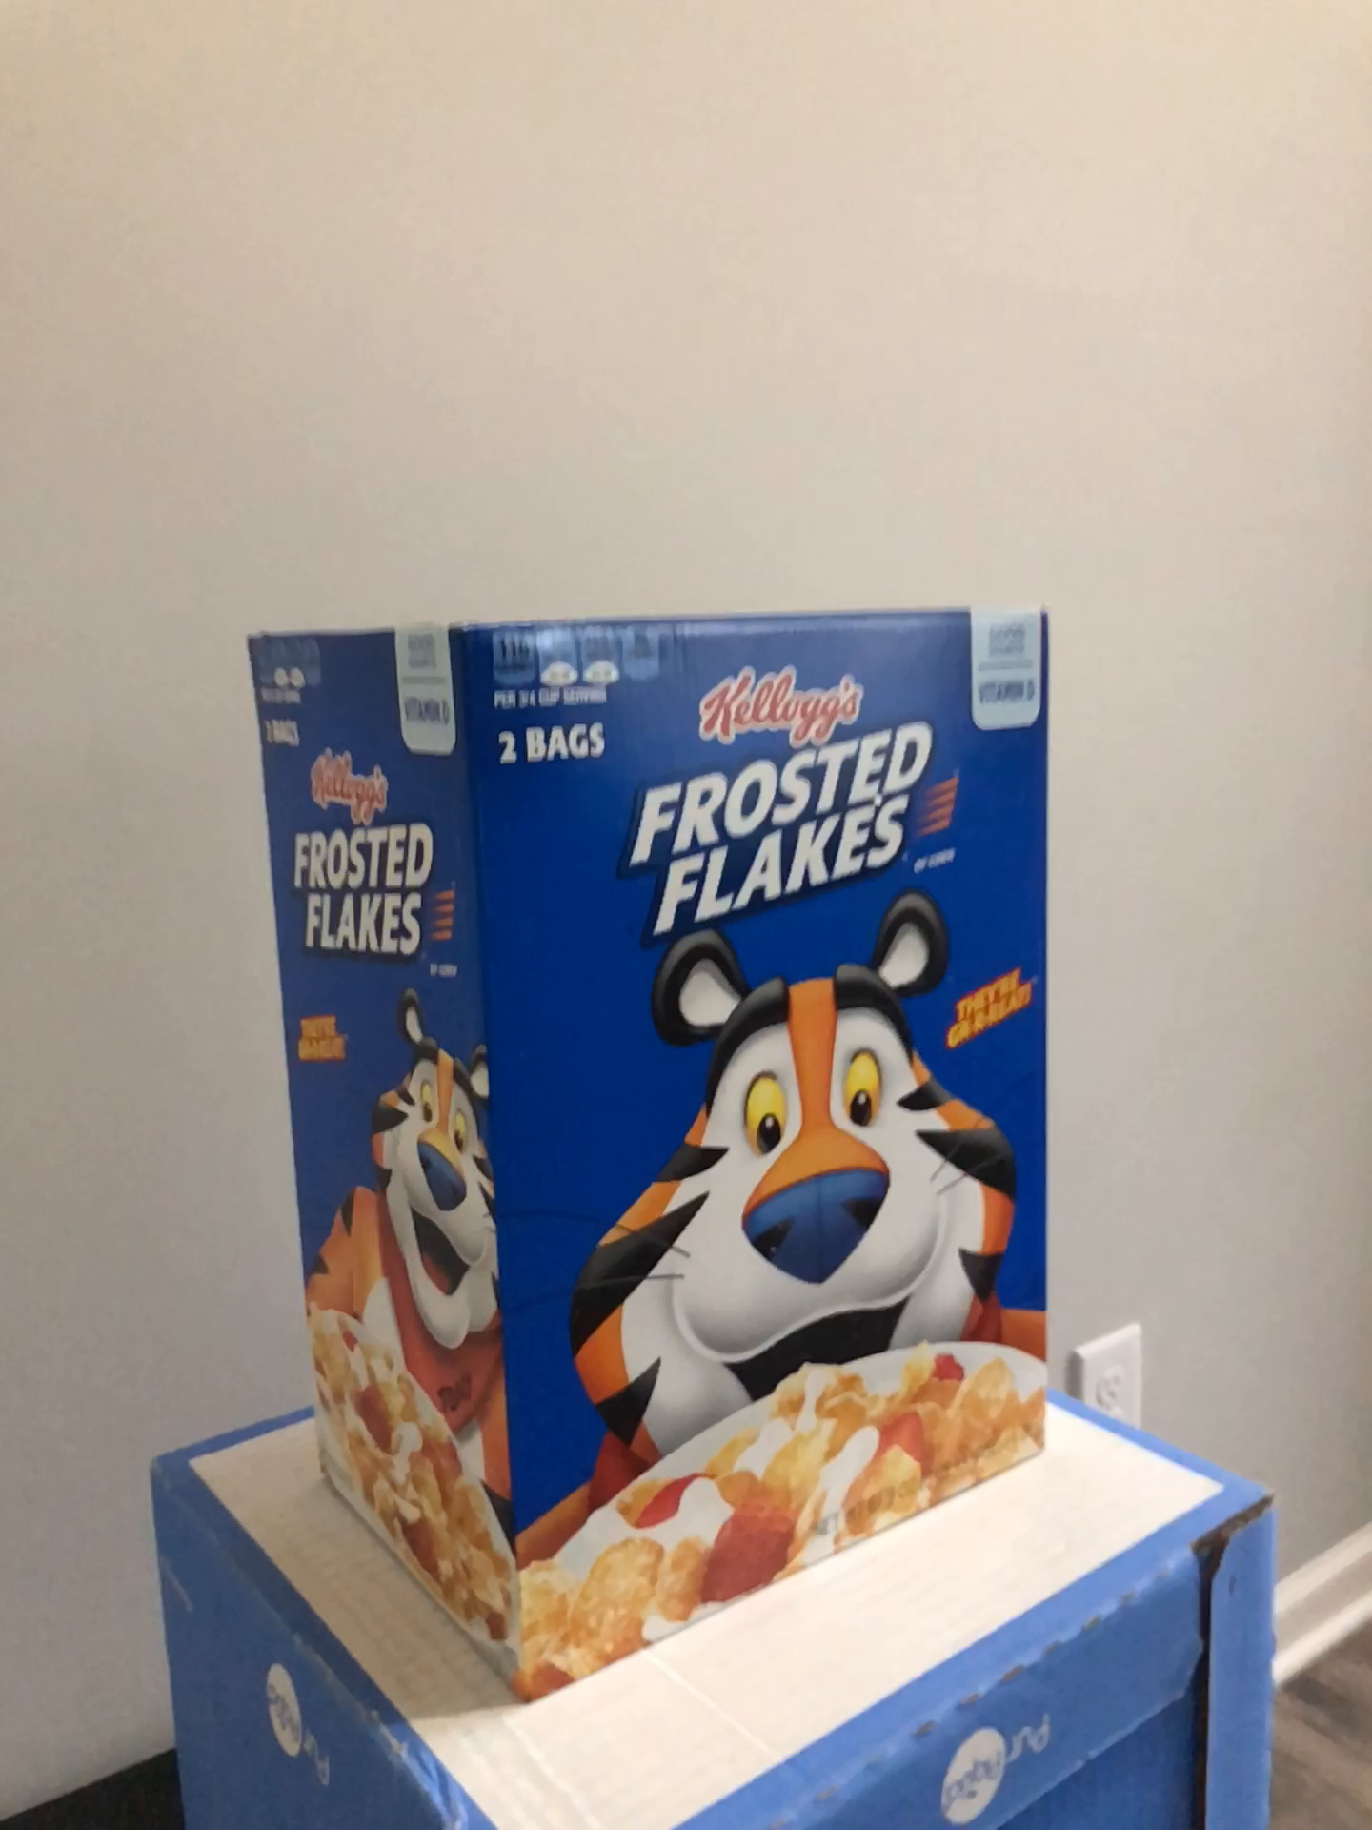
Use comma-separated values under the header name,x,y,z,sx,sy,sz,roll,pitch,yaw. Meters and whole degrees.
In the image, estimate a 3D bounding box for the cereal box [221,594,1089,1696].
name,x,y,z,sx,sy,sz,roll,pitch,yaw
cereal box,-0.004,0.048,0.569,0.260,0.319,0.170,-9,12,-34
